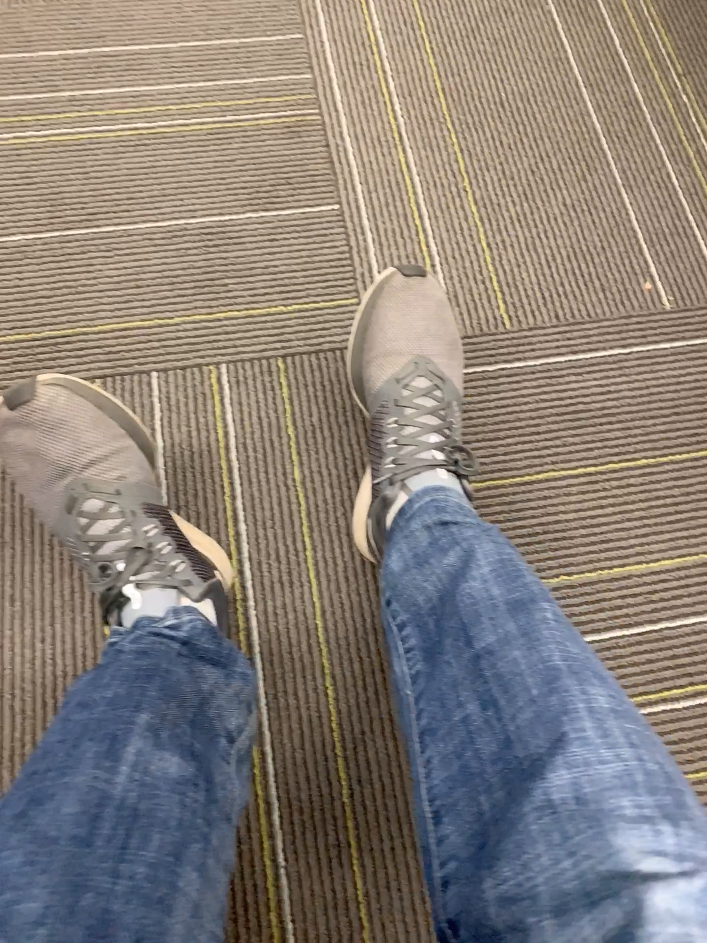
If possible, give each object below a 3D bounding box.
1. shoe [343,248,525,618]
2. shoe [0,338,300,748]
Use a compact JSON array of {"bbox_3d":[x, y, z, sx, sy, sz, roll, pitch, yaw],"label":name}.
[{"bbox_3d":[0.064,-0.039,0.636,0.119,0.122,0.294,-4,105,-10],"label":"shoe"},{"bbox_3d":[-0.166,0.067,0.570,0.119,0.293,0.122,-27,38,-5],"label":"shoe"}]
